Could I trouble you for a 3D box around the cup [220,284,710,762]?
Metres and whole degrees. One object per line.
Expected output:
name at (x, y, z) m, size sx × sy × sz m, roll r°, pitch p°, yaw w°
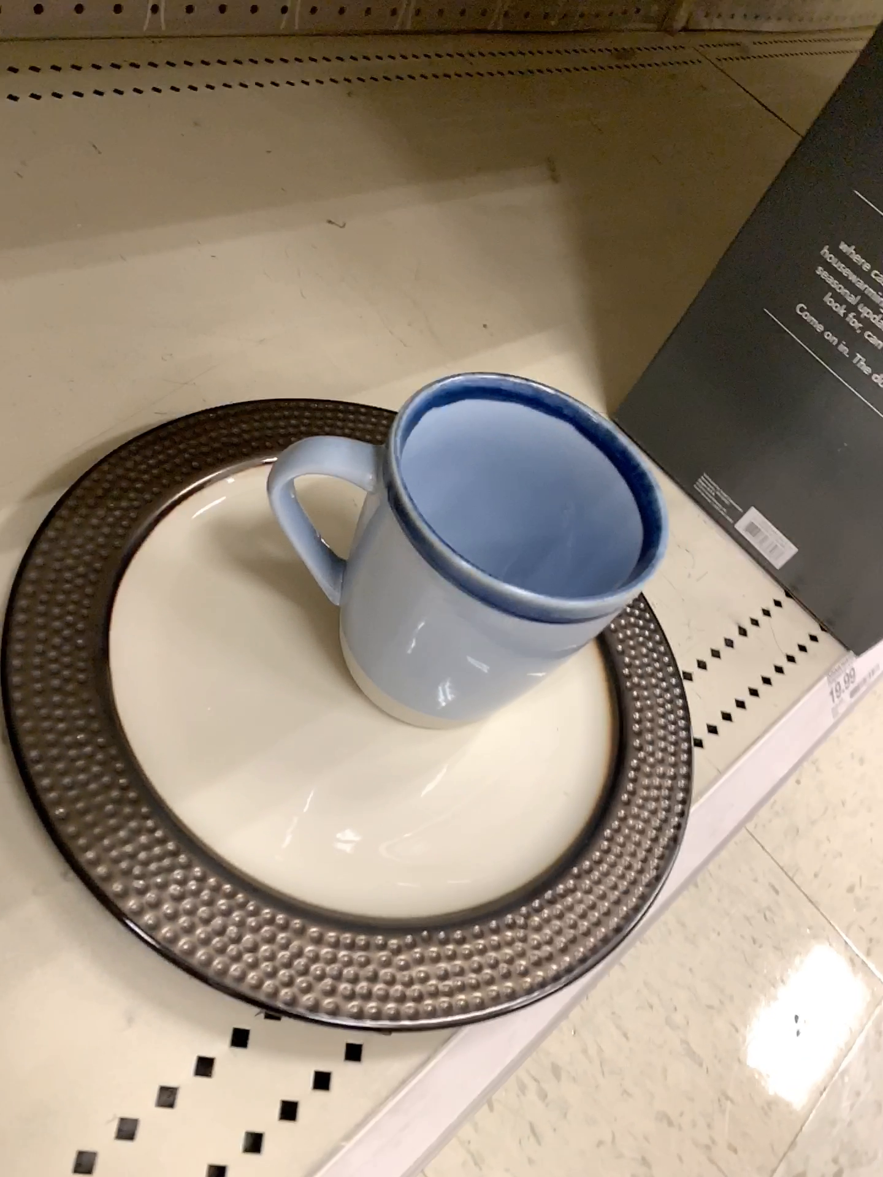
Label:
cup at (0.006, -0.017, 0.310) m, size 0.127 × 0.094 × 0.094 m, roll 16°, pitch 52°, yaw -12°
